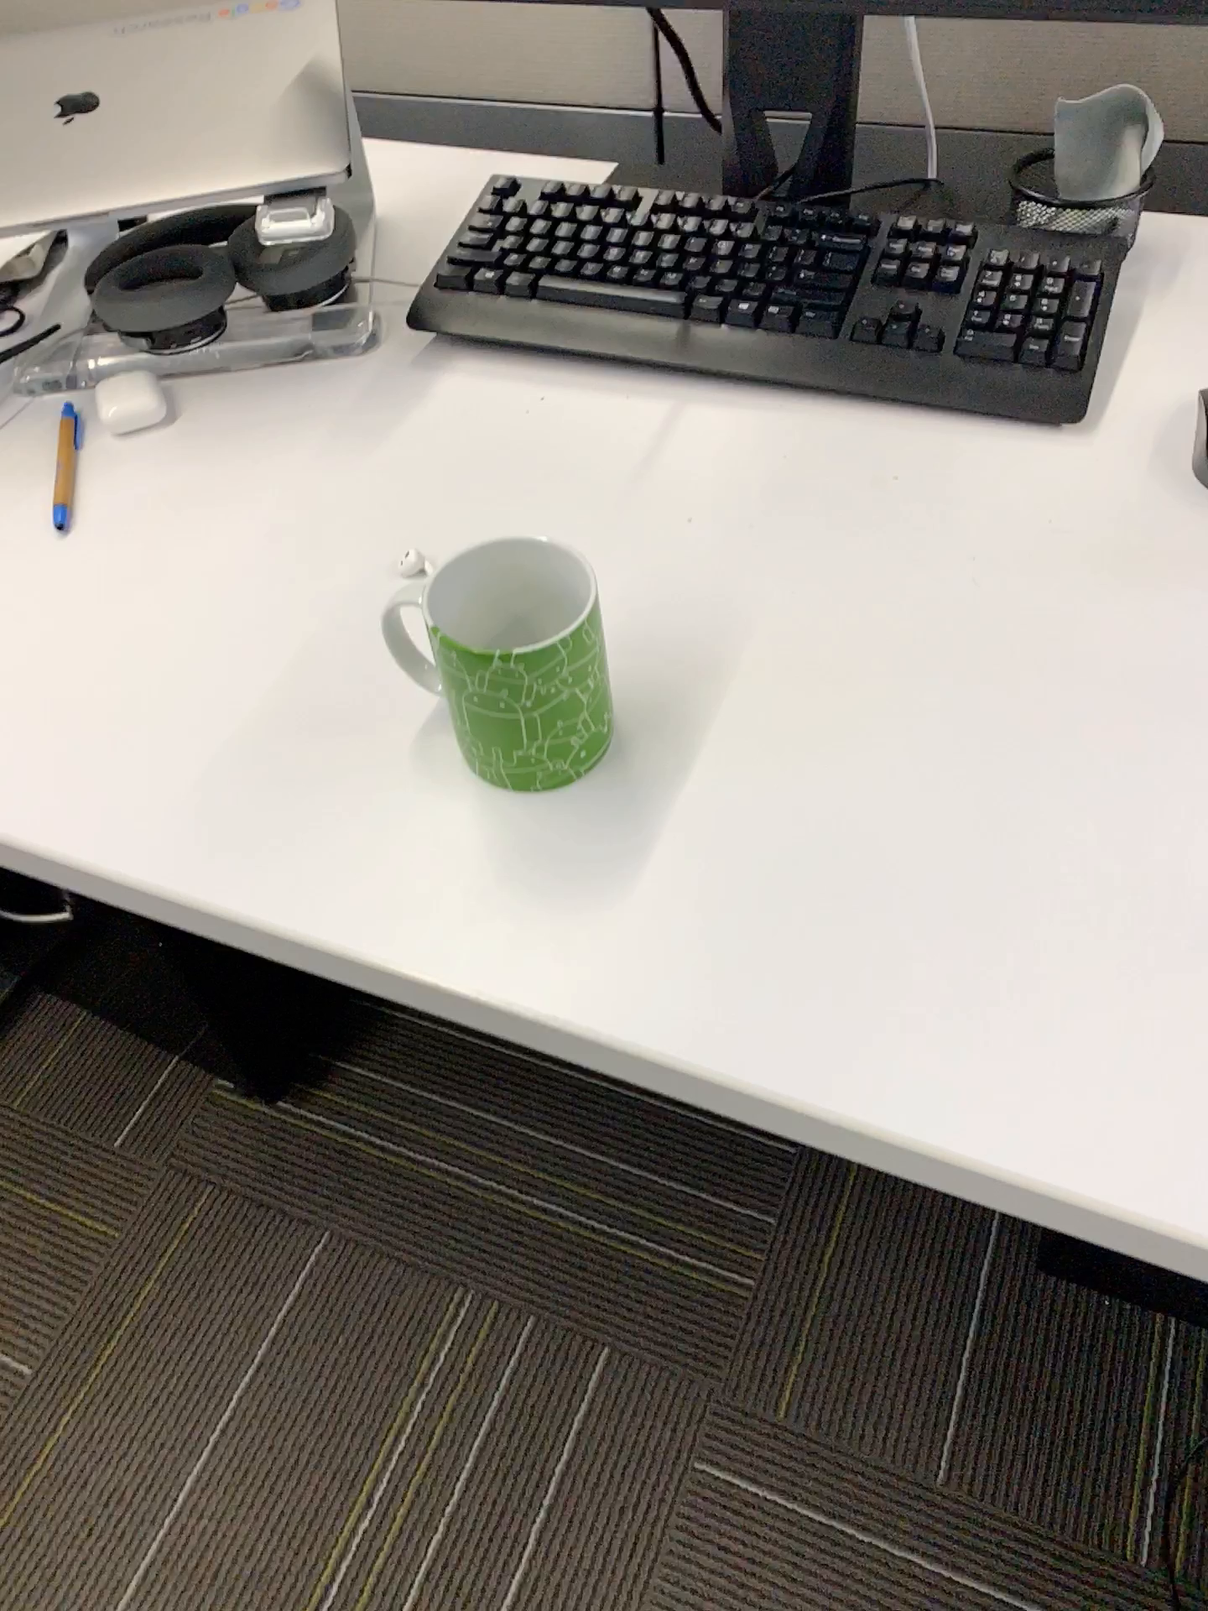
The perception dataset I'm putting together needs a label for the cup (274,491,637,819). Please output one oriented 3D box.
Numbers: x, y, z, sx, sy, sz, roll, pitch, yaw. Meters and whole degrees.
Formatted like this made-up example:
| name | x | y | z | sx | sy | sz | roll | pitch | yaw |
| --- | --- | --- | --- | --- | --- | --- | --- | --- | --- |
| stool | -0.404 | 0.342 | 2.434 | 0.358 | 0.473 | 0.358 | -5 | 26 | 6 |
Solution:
| name | x | y | z | sx | sy | sz | roll | pitch | yaw |
| --- | --- | --- | --- | --- | --- | --- | --- | --- | --- |
| cup | -0.065 | -0.073 | 0.587 | 0.130 | 0.090 | 0.090 | 18 | 55 | 21 |
